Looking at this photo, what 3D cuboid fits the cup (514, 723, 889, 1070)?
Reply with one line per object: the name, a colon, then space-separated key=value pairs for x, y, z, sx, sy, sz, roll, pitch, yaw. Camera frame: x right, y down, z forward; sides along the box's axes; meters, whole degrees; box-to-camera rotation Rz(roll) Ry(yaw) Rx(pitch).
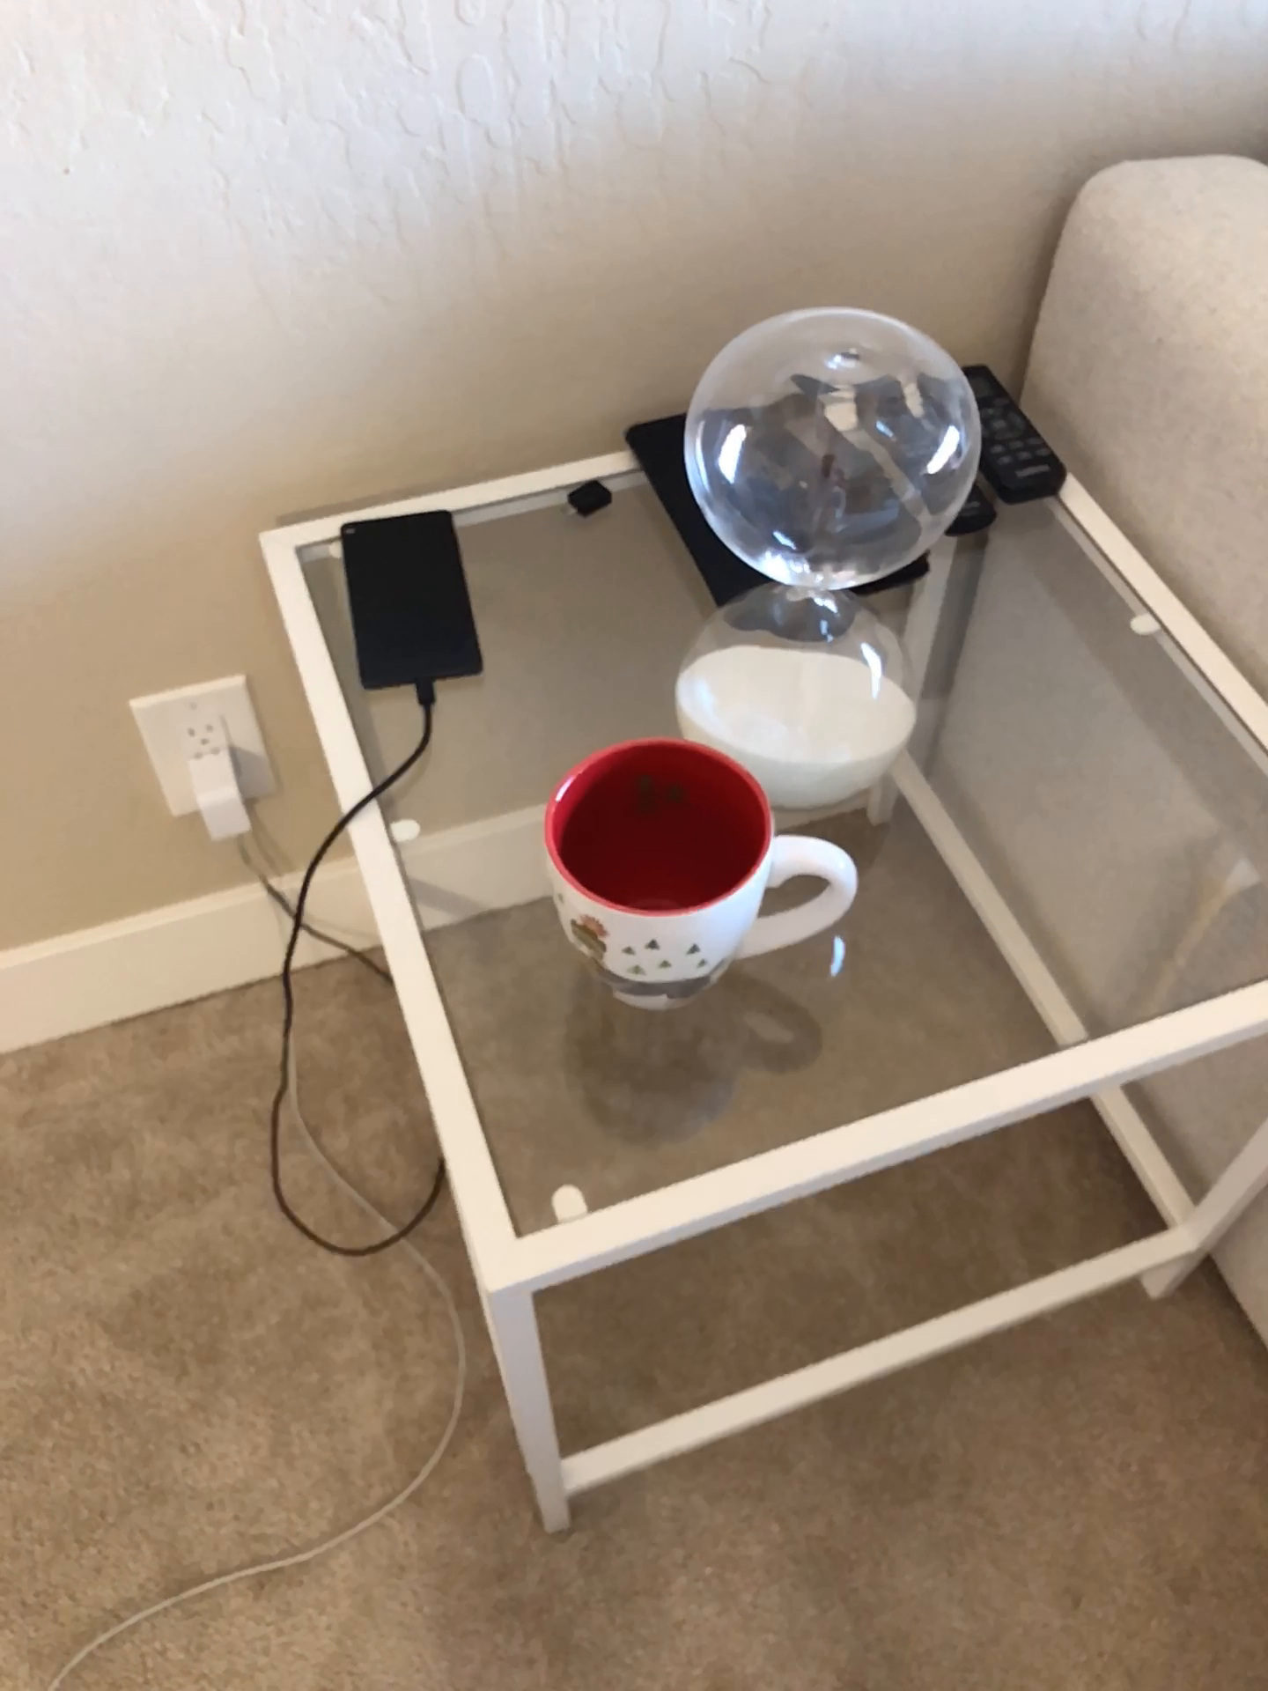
cup: x=0.032 y=0.024 z=0.639 sx=0.150 sy=0.110 sz=0.100 roll=4 pitch=53 yaw=4
